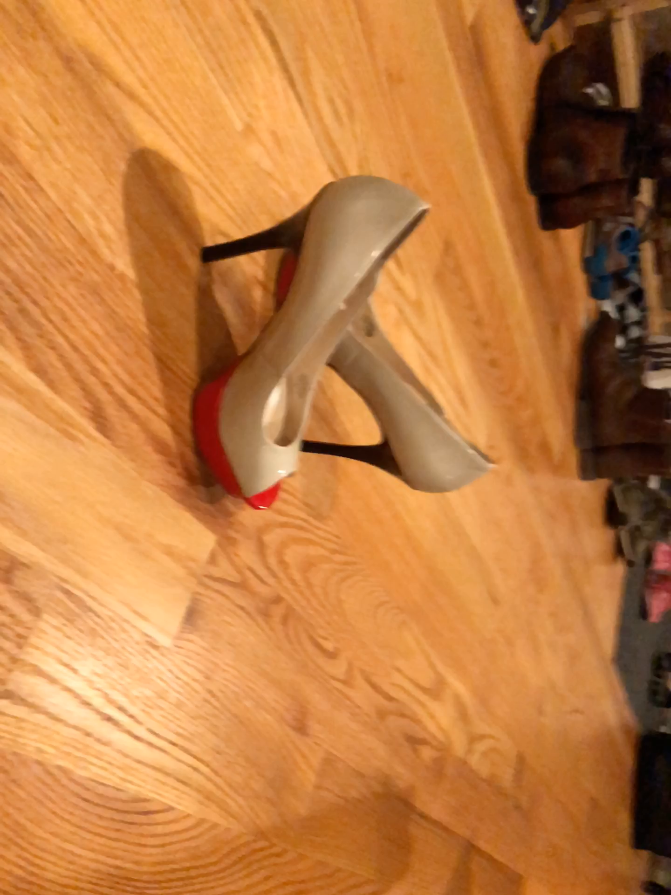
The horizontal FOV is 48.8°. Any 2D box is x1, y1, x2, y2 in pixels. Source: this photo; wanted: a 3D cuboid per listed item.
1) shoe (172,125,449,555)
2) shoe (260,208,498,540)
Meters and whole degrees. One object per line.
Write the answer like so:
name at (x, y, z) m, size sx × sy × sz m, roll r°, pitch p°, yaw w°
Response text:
shoe at (-0.012, -0.058, 0.442) m, size 0.085 × 0.129 × 0.215 m, roll -15°, pitch 105°, yaw -59°
shoe at (0.036, -0.054, 0.563) m, size 0.080 × 0.149 × 0.220 m, roll -19°, pitch 108°, yaw -59°
